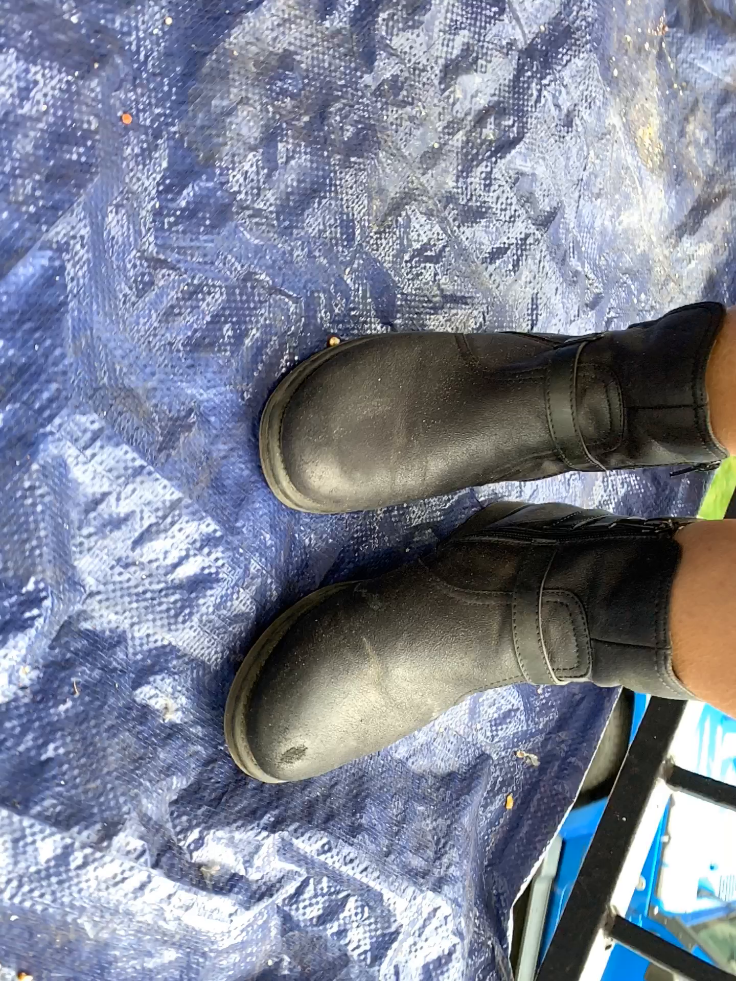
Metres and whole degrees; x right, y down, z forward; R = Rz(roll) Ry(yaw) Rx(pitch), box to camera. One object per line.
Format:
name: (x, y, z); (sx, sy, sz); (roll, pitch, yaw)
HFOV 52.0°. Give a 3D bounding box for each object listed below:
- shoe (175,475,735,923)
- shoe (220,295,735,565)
shoe: (0.064, 0.070, 0.382); (0.281, 0.109, 0.110); (-12, 100, -38)
shoe: (0.079, -0.042, 0.418); (0.281, 0.129, 0.100); (-9, 98, -39)
